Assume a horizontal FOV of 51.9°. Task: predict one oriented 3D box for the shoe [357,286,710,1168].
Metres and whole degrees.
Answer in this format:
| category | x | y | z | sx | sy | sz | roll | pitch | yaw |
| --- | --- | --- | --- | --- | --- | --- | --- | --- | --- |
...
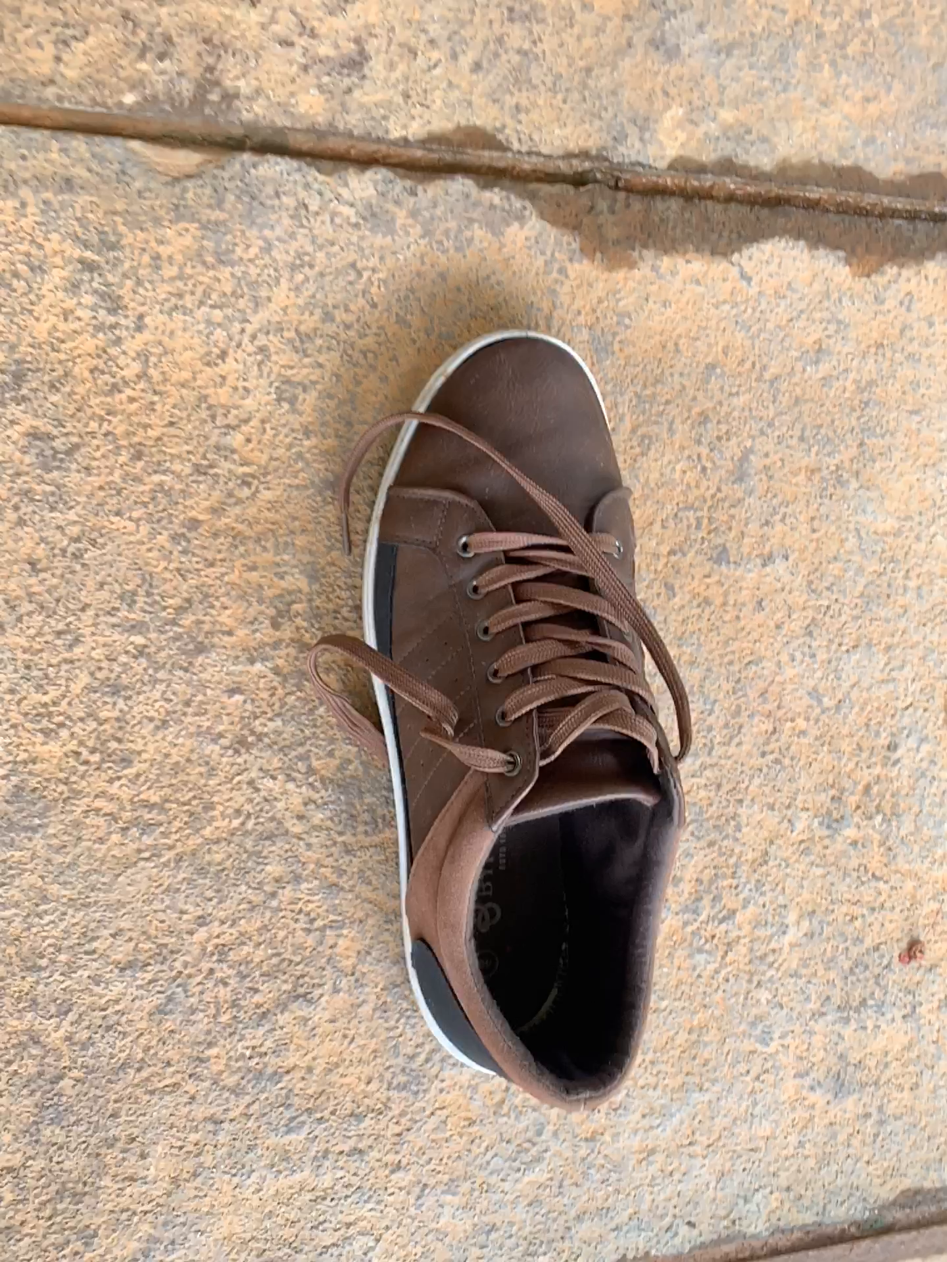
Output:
| category | x | y | z | sx | sy | sz | roll | pitch | yaw |
| --- | --- | --- | --- | --- | --- | --- | --- | --- | --- |
| shoe | 0.019 | 0.031 | 0.384 | 0.110 | 0.080 | 0.300 | -2 | 89 | -14 |
